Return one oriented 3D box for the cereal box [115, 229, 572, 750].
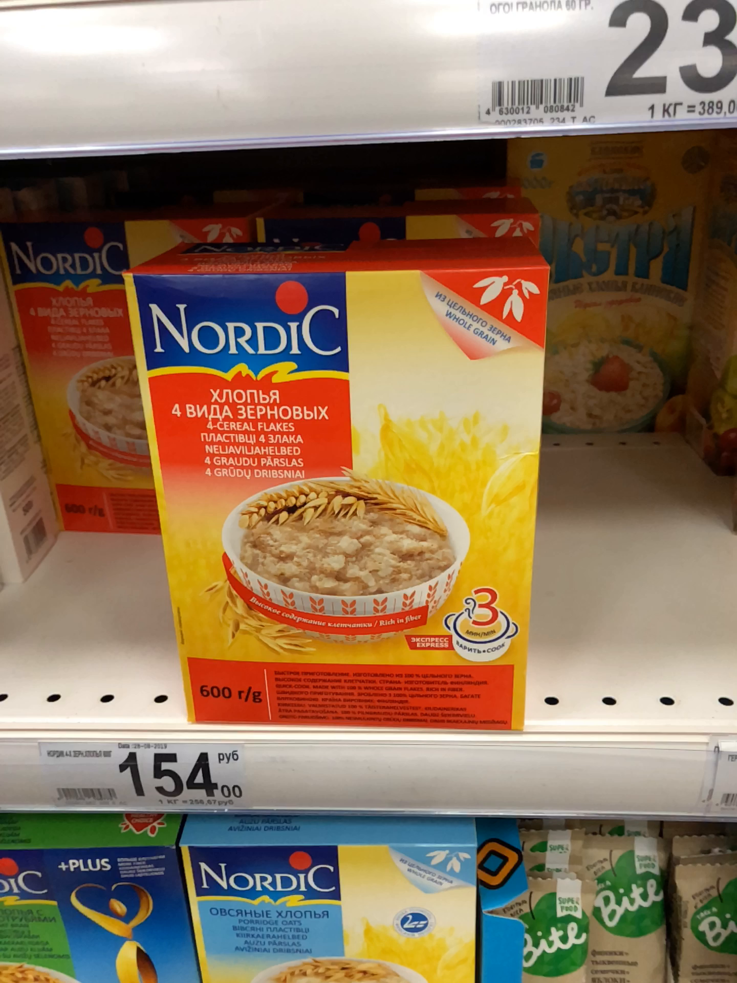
[{"bbox_3d":[-0.003,0.001,0.343,0.150,0.199,0.080,0,24,4],"label":"cereal box"}]
